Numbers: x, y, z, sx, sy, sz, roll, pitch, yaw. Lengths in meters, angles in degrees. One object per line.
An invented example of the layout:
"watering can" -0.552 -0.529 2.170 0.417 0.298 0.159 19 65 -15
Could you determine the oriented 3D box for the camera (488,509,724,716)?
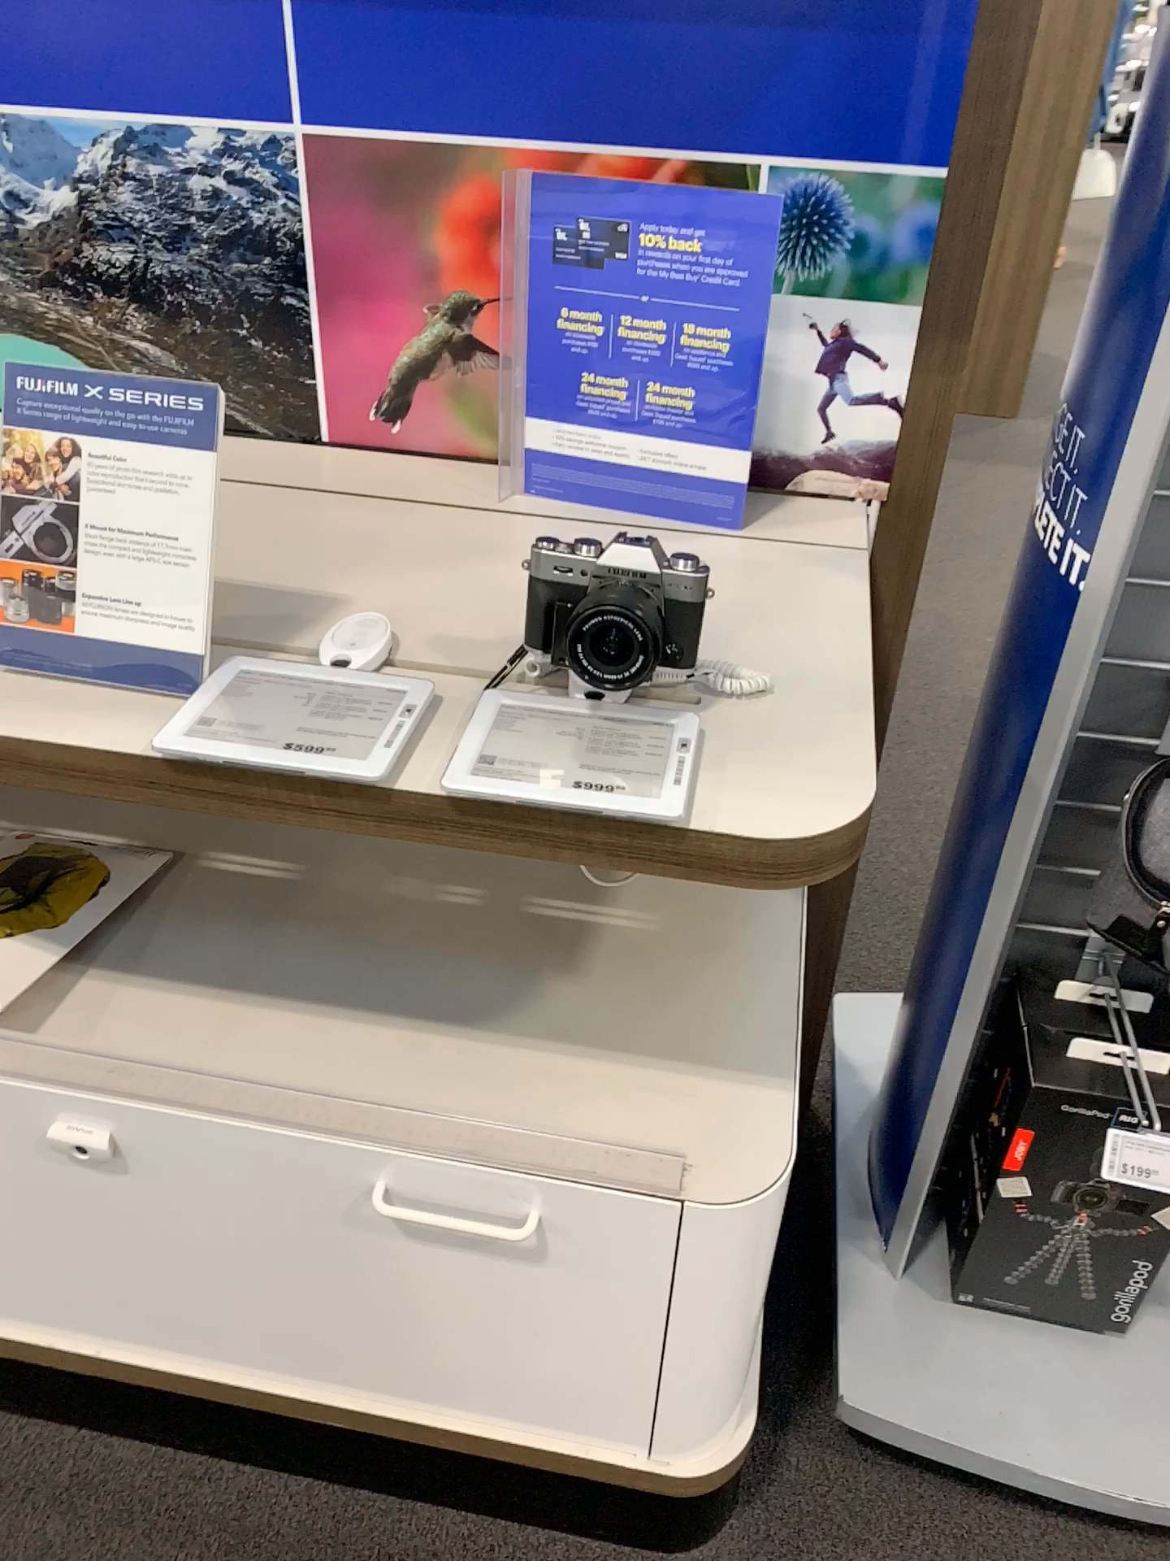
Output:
"camera" 0.014 -0.110 0.766 0.130 0.080 0.101 8 36 9
